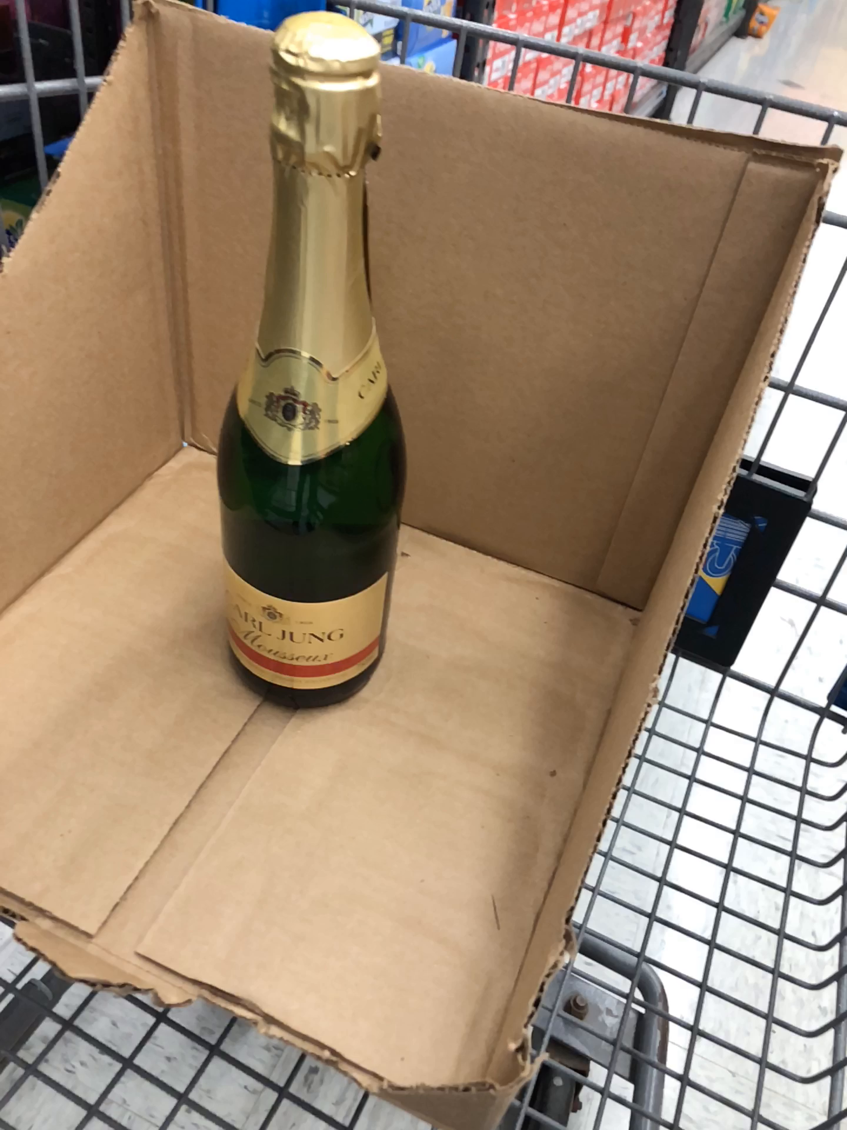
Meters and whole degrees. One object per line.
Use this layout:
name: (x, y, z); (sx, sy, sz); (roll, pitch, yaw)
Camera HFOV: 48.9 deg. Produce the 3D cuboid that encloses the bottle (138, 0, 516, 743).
bottle: (-0.046, -0.064, 0.378); (0.090, 0.288, 0.081); (20, 41, 11)
